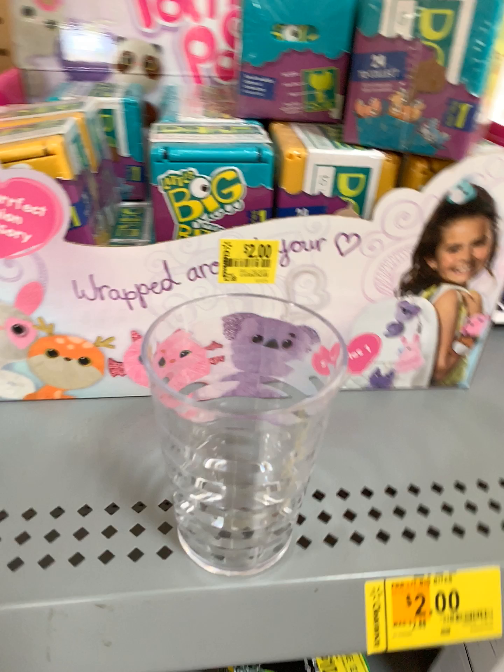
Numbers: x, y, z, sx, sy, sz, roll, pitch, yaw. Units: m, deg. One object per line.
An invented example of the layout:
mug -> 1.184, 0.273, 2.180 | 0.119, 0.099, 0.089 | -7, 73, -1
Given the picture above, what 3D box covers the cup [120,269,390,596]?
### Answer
cup -> -0.005, 0.038, 0.210 | 0.079, 0.107, 0.070 | -2, 35, -8
